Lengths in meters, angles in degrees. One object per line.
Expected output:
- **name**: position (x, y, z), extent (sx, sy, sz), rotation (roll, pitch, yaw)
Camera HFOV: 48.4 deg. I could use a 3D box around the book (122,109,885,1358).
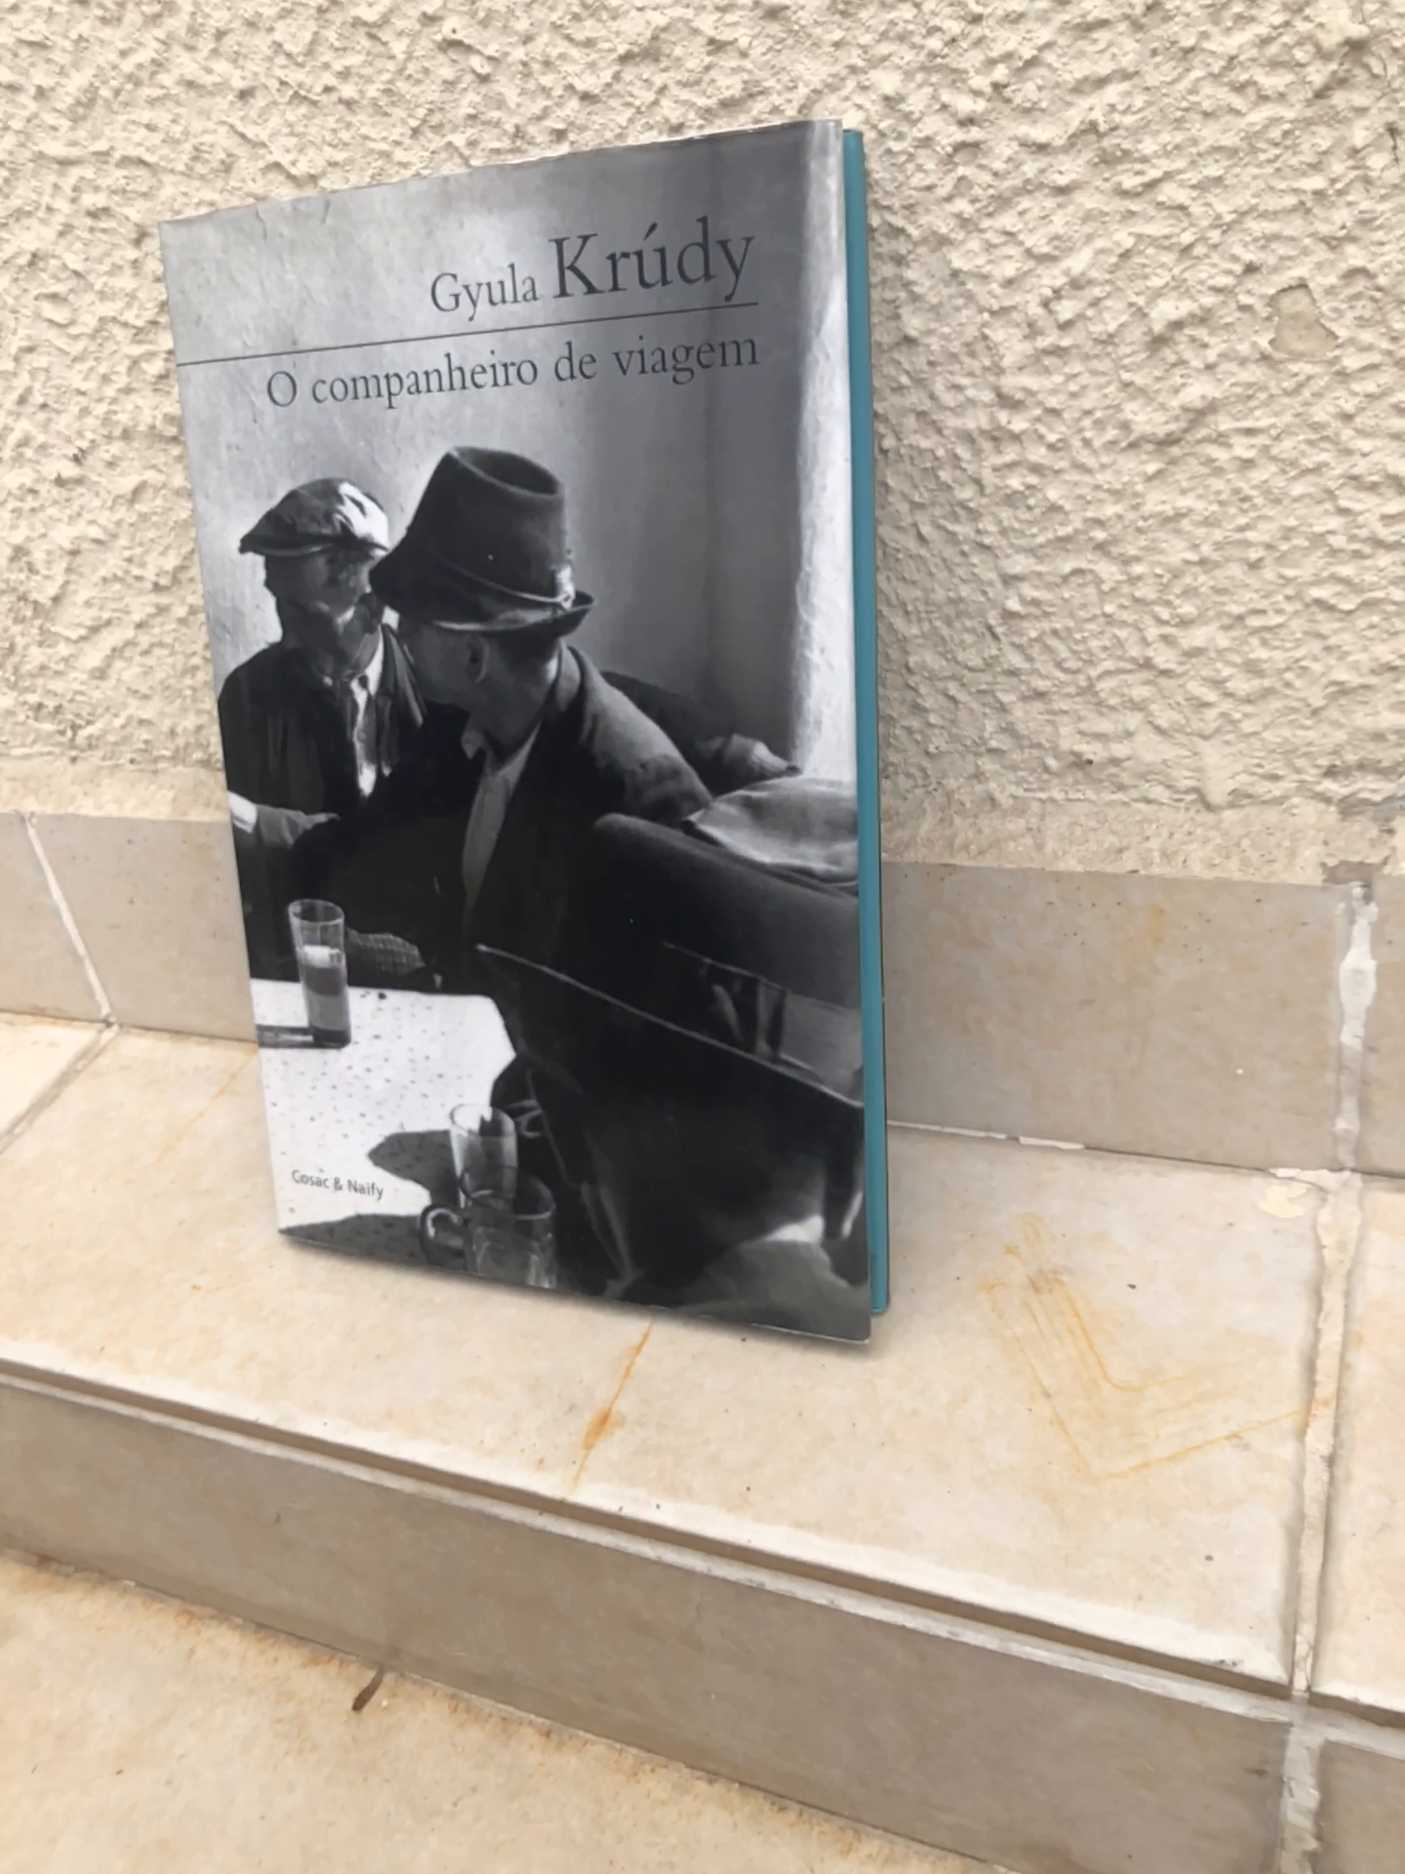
- **book**: position (-0.035, -0.031, 0.292), extent (0.137, 0.205, 0.019), rotation (5, 16, 24)
